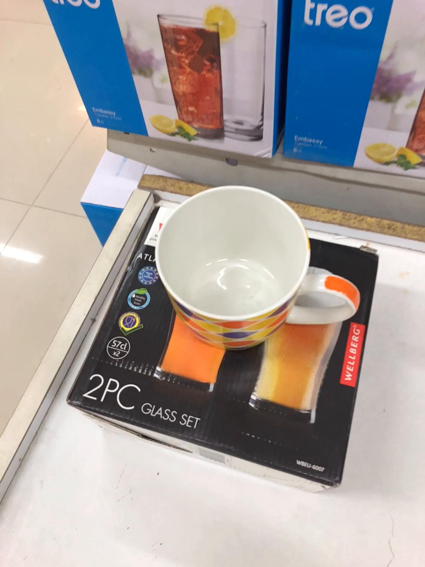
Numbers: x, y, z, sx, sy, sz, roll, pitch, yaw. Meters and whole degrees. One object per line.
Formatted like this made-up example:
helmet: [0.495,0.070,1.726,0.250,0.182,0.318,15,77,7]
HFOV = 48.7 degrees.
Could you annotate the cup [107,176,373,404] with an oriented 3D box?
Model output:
cup: [0.021,0.005,0.299,0.130,0.090,0.090,11,61,12]
